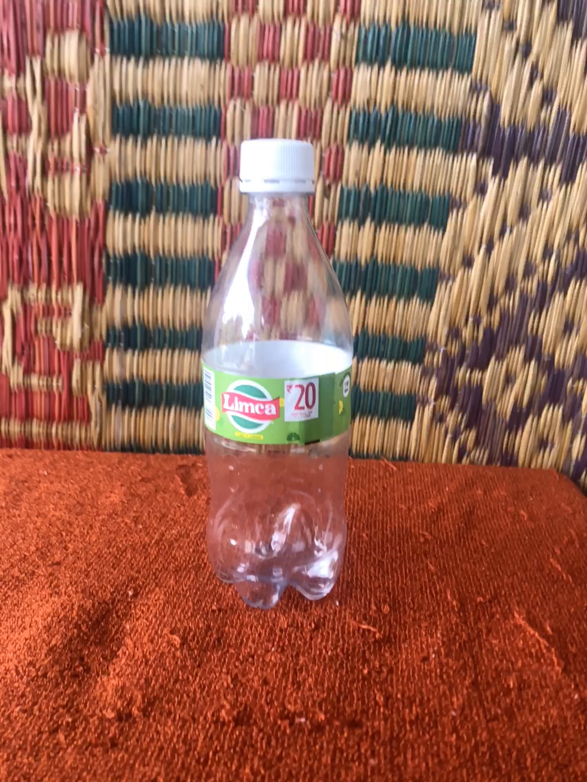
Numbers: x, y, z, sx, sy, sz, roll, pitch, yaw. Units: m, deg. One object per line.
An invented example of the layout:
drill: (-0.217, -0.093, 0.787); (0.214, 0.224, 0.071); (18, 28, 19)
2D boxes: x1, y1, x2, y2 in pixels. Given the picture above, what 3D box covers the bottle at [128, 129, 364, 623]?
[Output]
bottle: (-0.014, -0.006, 0.223); (0.060, 0.149, 0.060); (3, 19, -1)
